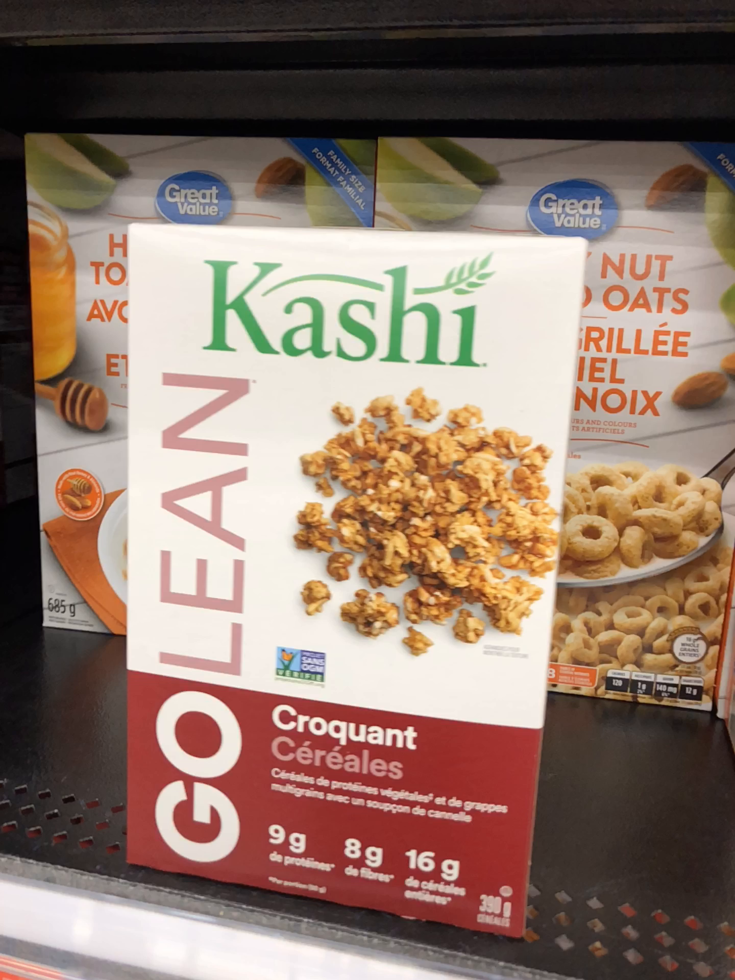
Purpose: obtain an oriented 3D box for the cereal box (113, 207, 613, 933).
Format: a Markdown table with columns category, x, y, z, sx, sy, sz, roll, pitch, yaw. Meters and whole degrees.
| category | x | y | z | sx | sy | sz | roll | pitch | yaw |
| --- | --- | --- | --- | --- | --- | --- | --- | --- | --- |
| cereal box | -0.007 | 0.029 | 0.321 | 0.170 | 0.259 | 0.050 | 5 | 12 | 11 |
